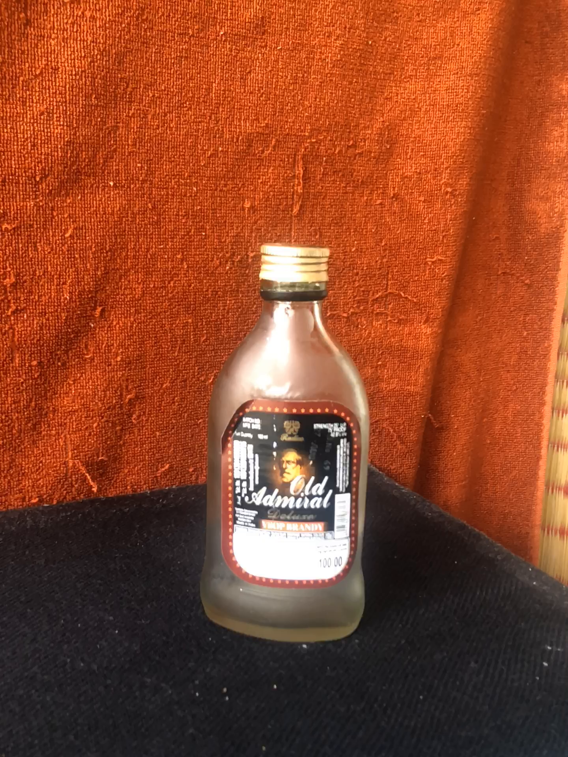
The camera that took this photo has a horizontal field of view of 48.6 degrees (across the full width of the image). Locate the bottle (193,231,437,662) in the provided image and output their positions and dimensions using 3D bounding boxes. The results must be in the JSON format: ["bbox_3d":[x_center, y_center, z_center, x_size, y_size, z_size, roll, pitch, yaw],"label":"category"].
[{"bbox_3d":[0.008,0.023,0.241,0.070,0.150,0.050,5,14,2],"label":"bottle"}]
